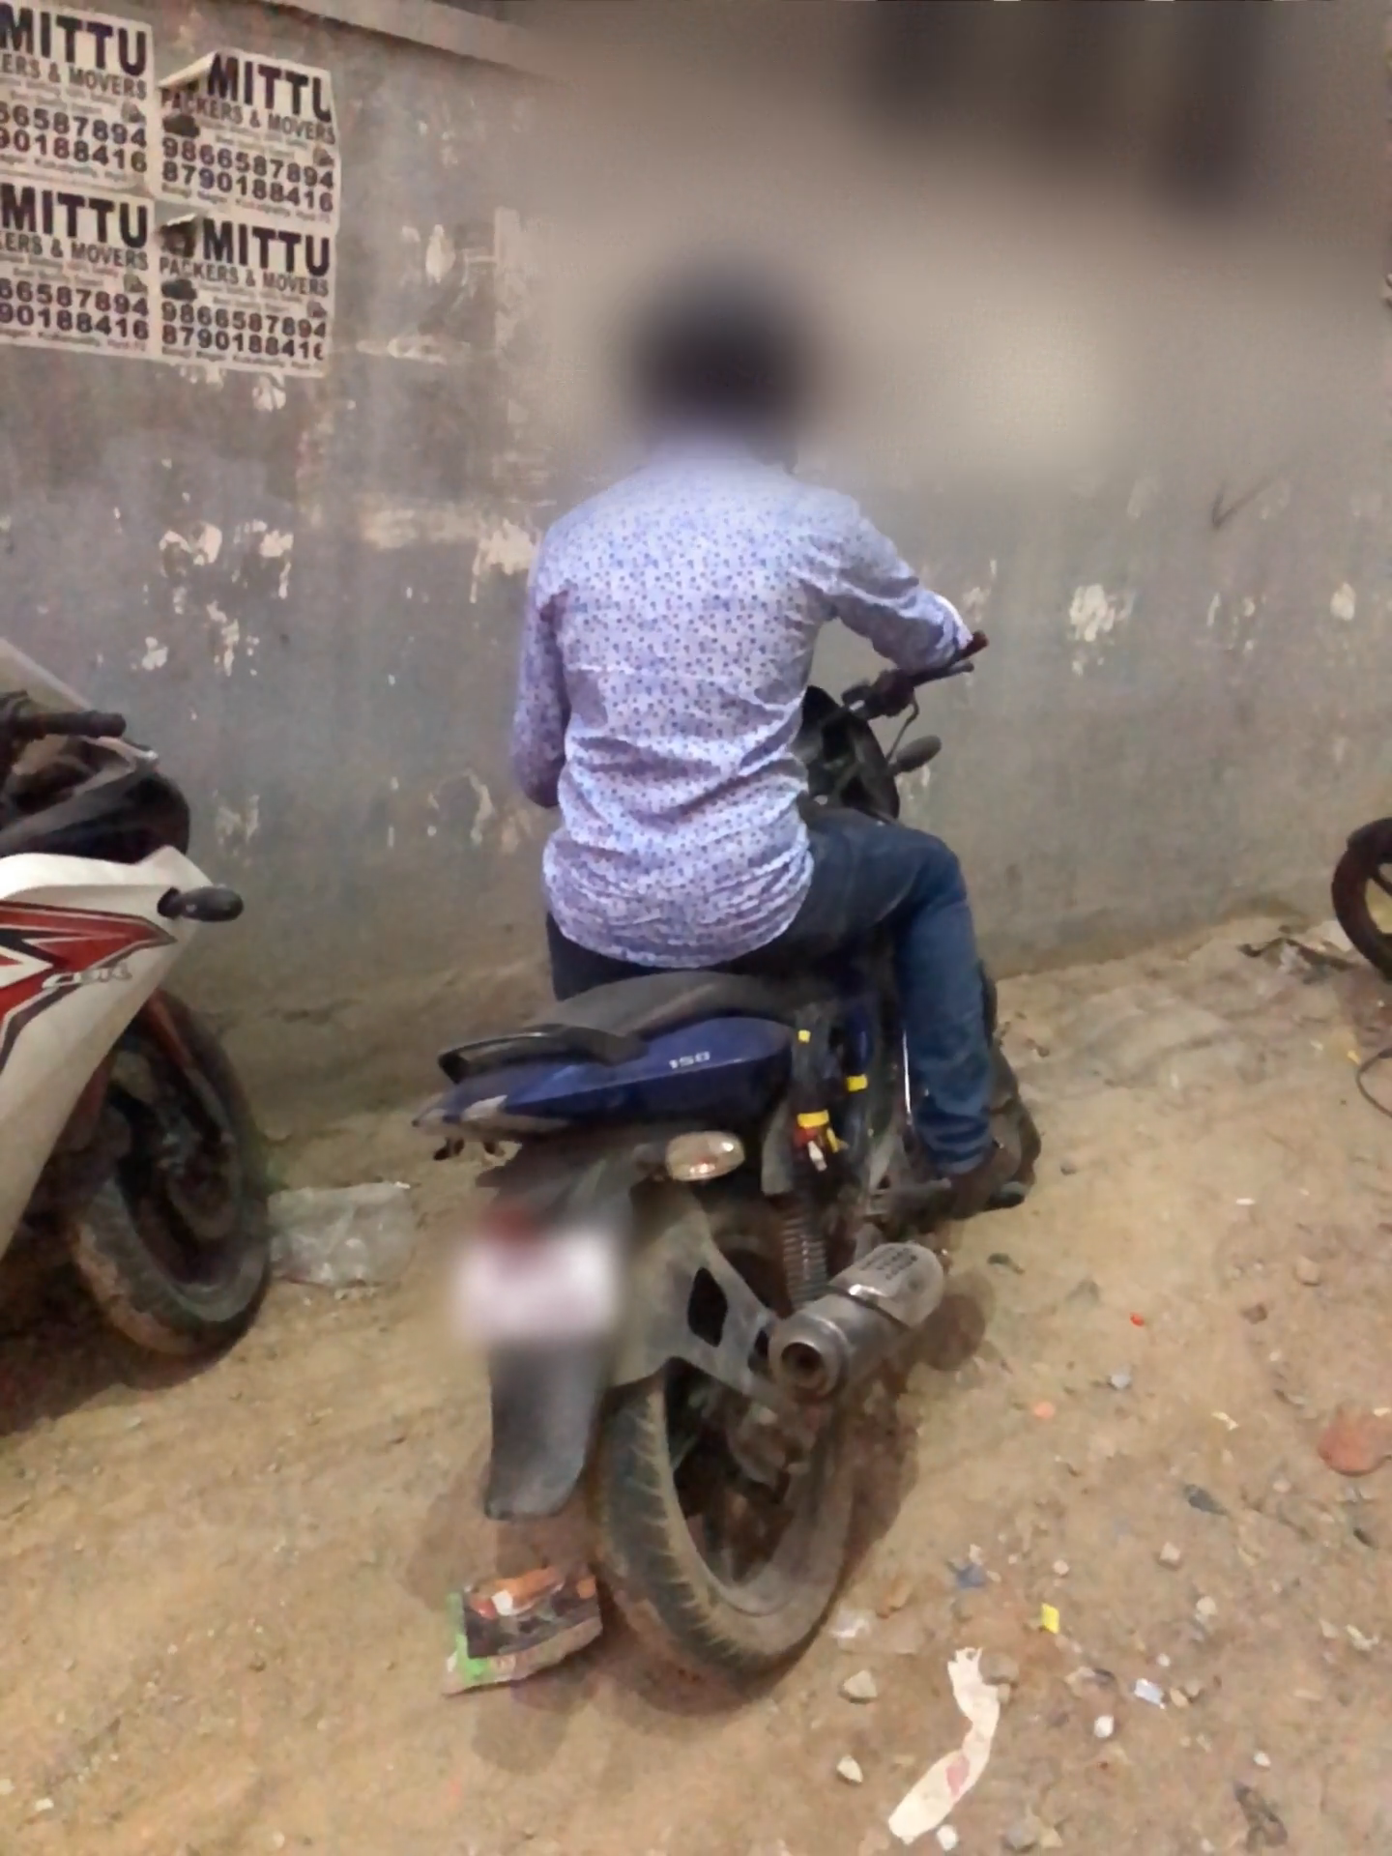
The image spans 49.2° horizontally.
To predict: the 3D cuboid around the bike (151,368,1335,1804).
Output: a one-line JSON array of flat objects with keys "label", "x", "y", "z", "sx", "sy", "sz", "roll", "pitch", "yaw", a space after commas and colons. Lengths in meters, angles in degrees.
[{"label": "bike", "x": 0.209, "y": -0.007, "z": 2.186, "sx": 1.091, "sy": 1.113, "sz": 1.513, "roll": 10, "pitch": 27, "yaw": 11}]
